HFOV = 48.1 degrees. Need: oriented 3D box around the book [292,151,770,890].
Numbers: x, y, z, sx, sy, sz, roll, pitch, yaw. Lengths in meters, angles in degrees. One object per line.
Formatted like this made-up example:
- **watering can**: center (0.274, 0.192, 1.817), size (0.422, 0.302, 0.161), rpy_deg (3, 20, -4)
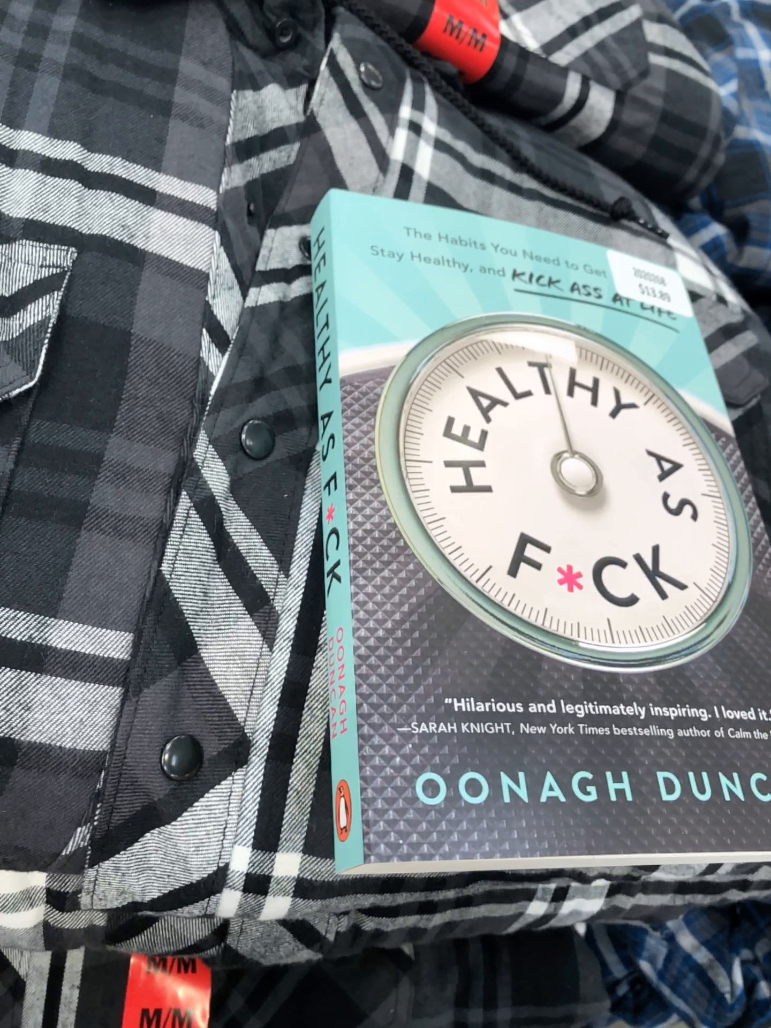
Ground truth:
- **book**: center (0.052, -0.009, 0.284), size (0.157, 0.028, 0.237), rpy_deg (8, 57, -21)
